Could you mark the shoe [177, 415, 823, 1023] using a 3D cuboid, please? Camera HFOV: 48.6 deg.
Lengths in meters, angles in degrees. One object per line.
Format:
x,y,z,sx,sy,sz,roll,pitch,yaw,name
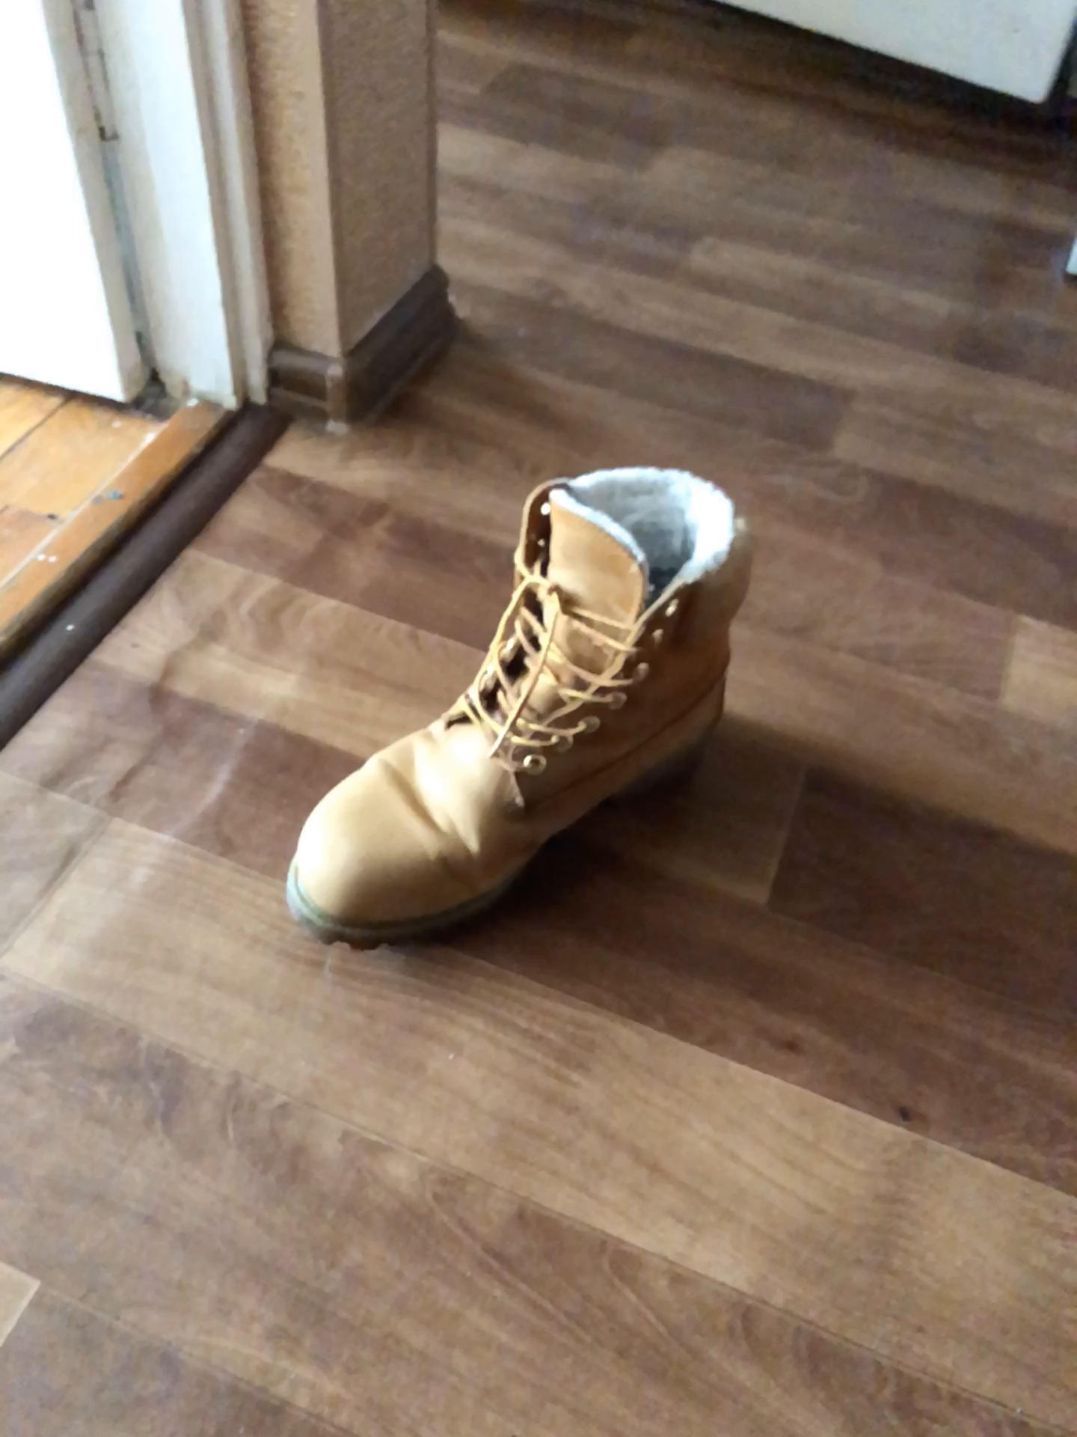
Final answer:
-0.014,-0.007,0.627,0.291,0.179,0.120,-29,57,-27,shoe
